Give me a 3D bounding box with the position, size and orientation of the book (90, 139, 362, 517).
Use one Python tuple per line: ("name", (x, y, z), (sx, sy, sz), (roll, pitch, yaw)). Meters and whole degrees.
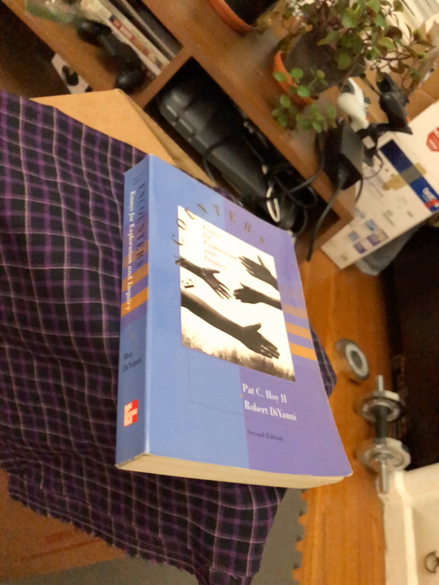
("book", (0.006, 0.027, 0.385), (0.201, 0.040, 0.261), (24, 46, -36))
